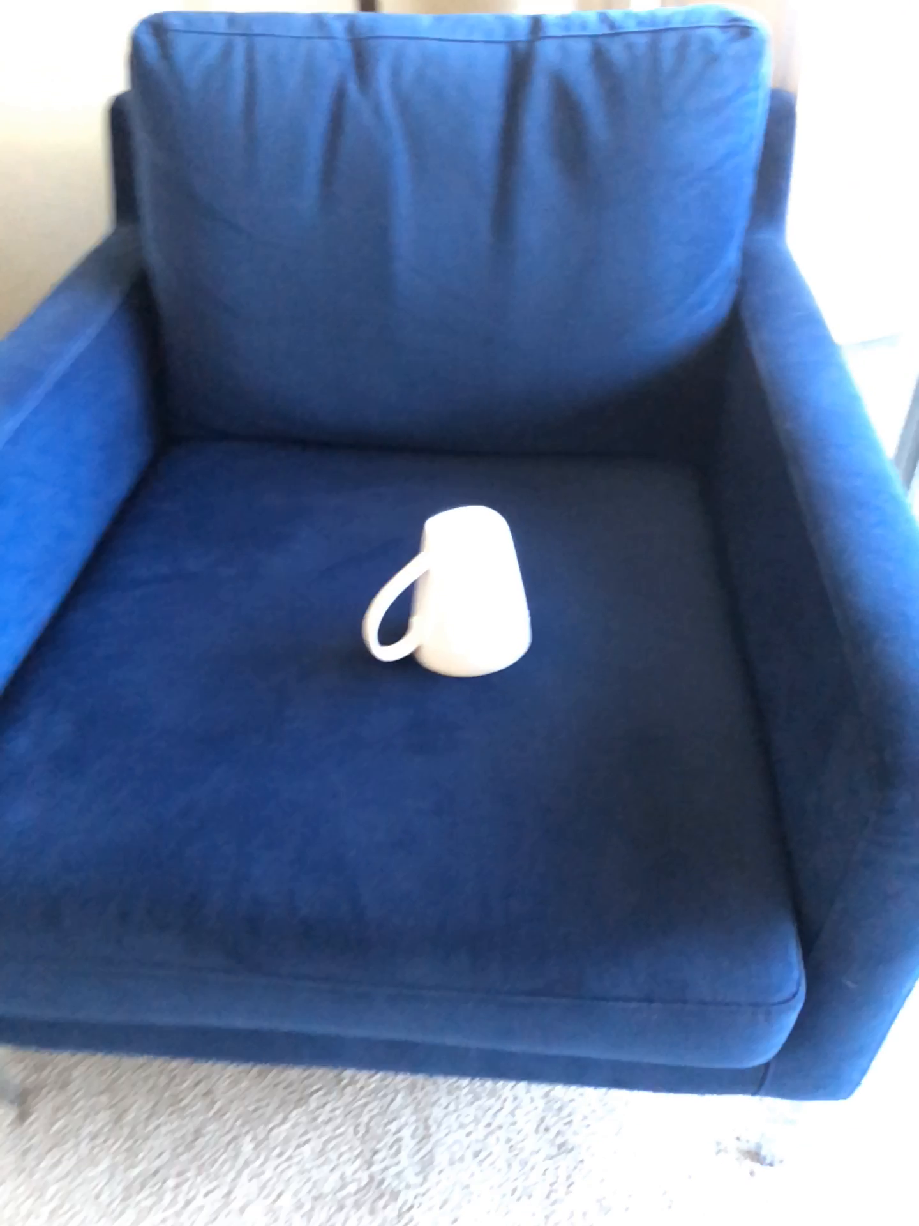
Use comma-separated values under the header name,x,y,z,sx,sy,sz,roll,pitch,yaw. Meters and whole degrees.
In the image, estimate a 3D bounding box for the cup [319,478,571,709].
name,x,y,z,sx,sy,sz,roll,pitch,yaw
cup,-0.011,-0.019,0.768,0.150,0.090,0.110,-19,42,-21
